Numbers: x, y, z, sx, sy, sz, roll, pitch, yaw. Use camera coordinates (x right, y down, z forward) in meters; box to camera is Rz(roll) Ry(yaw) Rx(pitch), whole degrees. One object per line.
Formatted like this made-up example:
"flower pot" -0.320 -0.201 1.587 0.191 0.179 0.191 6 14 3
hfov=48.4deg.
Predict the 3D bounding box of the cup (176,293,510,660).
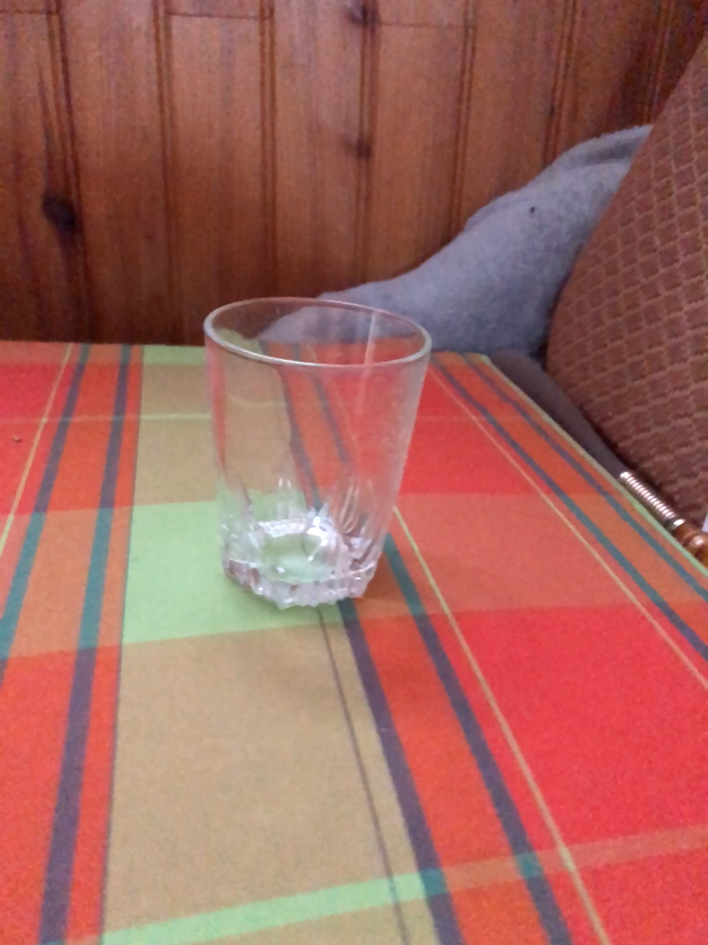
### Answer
"cup" -0.006 -0.005 0.246 0.070 0.080 0.070 2 26 -1
